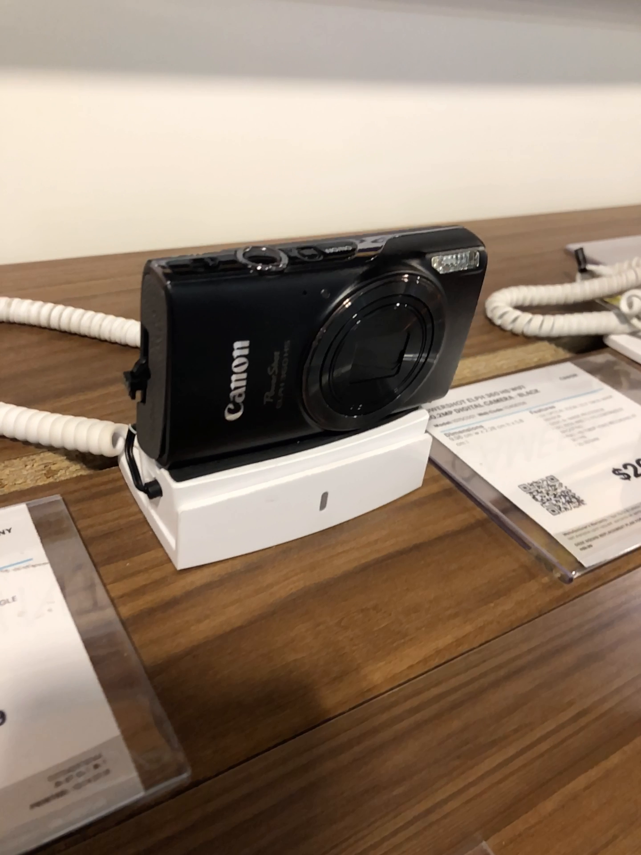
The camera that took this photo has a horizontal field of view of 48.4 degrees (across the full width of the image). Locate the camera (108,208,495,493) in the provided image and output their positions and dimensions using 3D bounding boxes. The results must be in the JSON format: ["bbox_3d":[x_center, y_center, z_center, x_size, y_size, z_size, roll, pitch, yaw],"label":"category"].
[{"bbox_3d":[-0.004,-0.026,0.200,0.100,0.056,0.030,-15,38,-30],"label":"camera"}]
